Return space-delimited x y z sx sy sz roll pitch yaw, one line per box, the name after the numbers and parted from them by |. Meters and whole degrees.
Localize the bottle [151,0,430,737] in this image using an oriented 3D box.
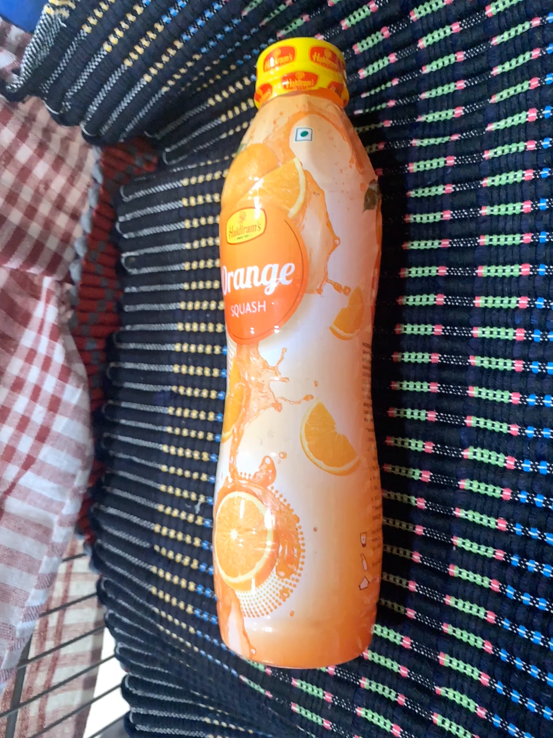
0.007 -0.014 0.226 0.080 0.060 0.250 -2 83 43 | bottle
